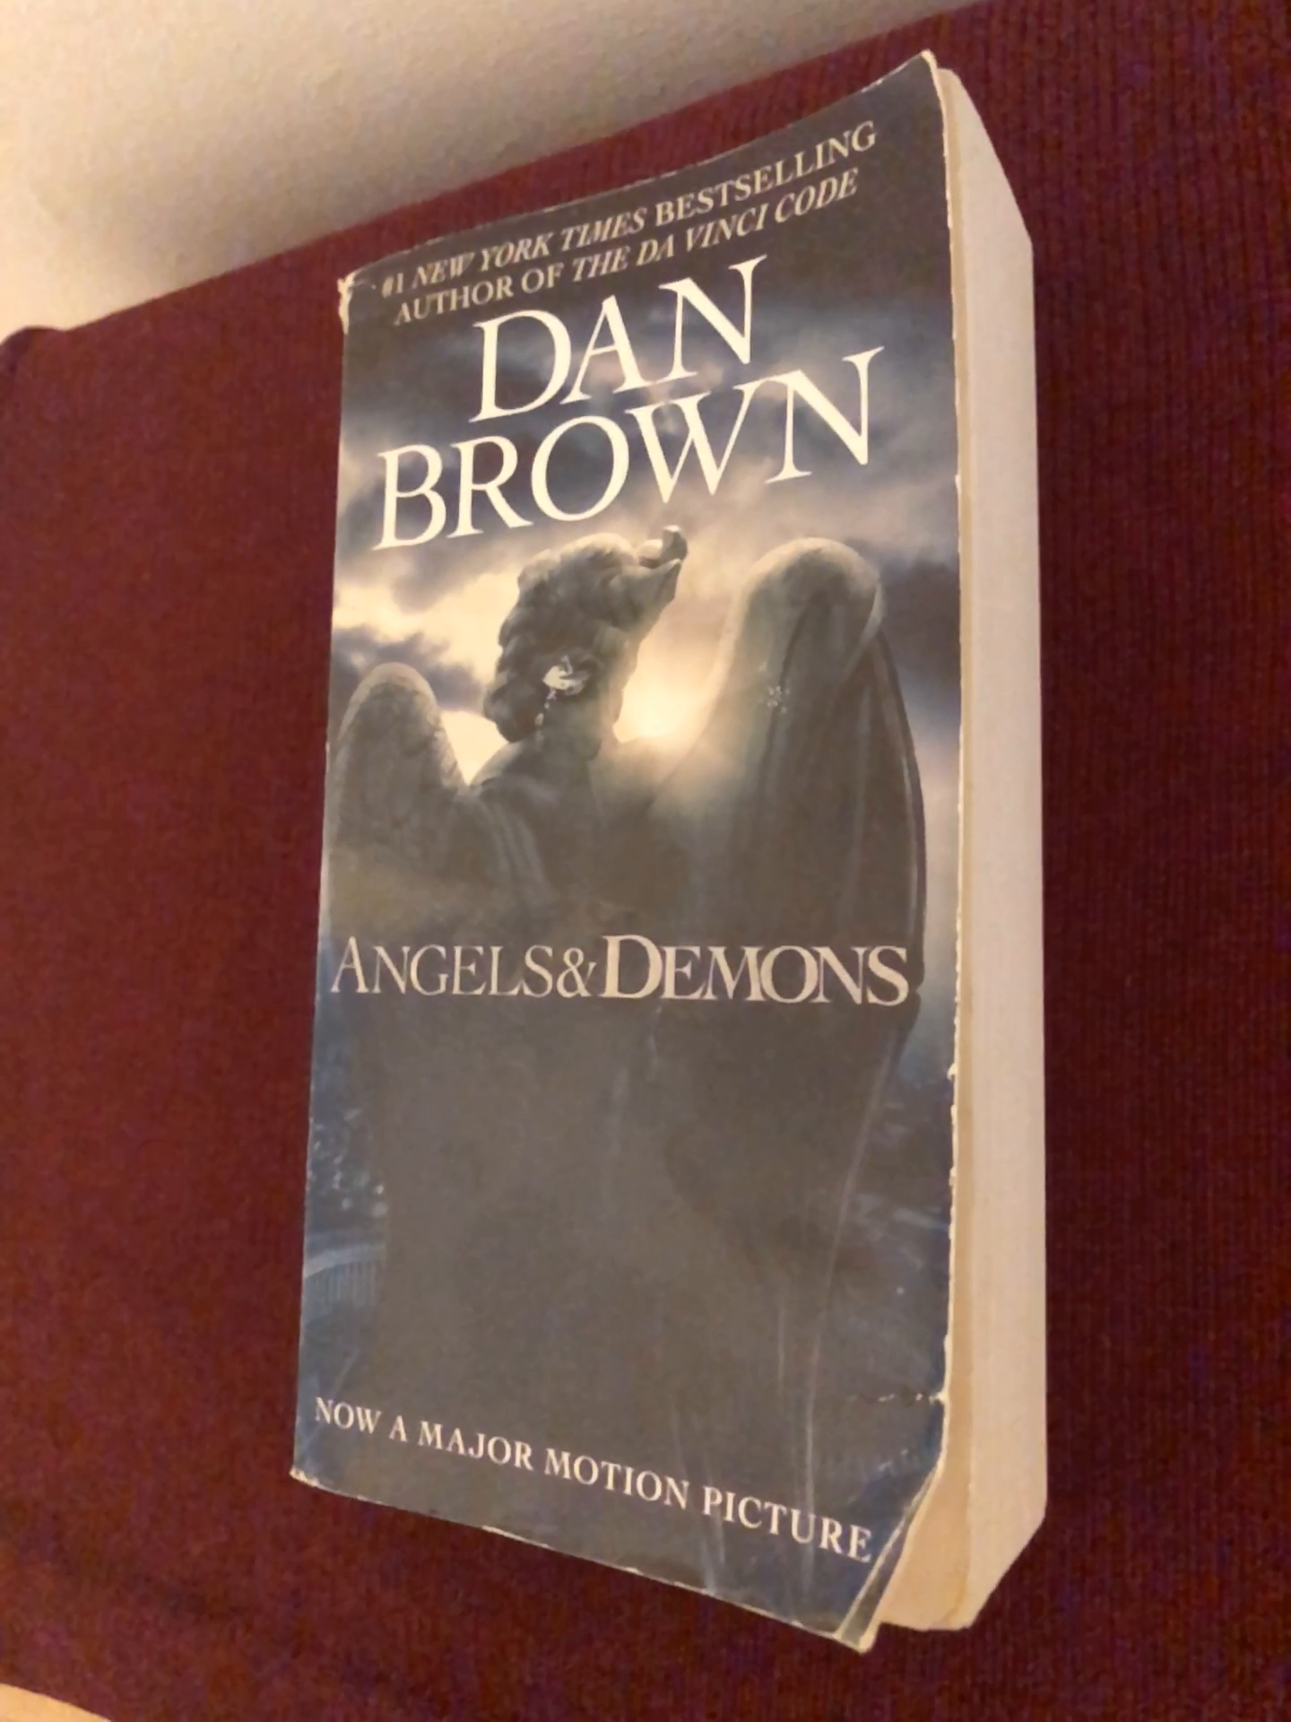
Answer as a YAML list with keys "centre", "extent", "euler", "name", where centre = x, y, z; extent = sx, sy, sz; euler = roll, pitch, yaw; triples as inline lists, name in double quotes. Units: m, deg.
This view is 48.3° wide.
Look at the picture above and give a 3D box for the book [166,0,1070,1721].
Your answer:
- centre: [-0.007, -0.008, 0.207]
  extent: [0.120, 0.040, 0.210]
  euler: [-4, 81, 33]
  name: "book"
